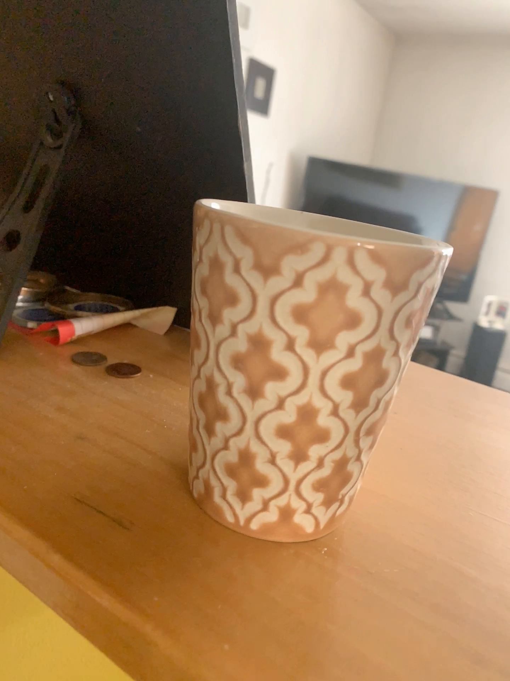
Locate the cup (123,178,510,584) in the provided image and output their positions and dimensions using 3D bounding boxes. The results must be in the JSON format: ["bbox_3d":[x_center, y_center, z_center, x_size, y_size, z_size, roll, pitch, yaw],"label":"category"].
[{"bbox_3d":[0.010,0.001,0.219,0.090,0.109,0.120,-1,20,-29],"label":"cup"}]
